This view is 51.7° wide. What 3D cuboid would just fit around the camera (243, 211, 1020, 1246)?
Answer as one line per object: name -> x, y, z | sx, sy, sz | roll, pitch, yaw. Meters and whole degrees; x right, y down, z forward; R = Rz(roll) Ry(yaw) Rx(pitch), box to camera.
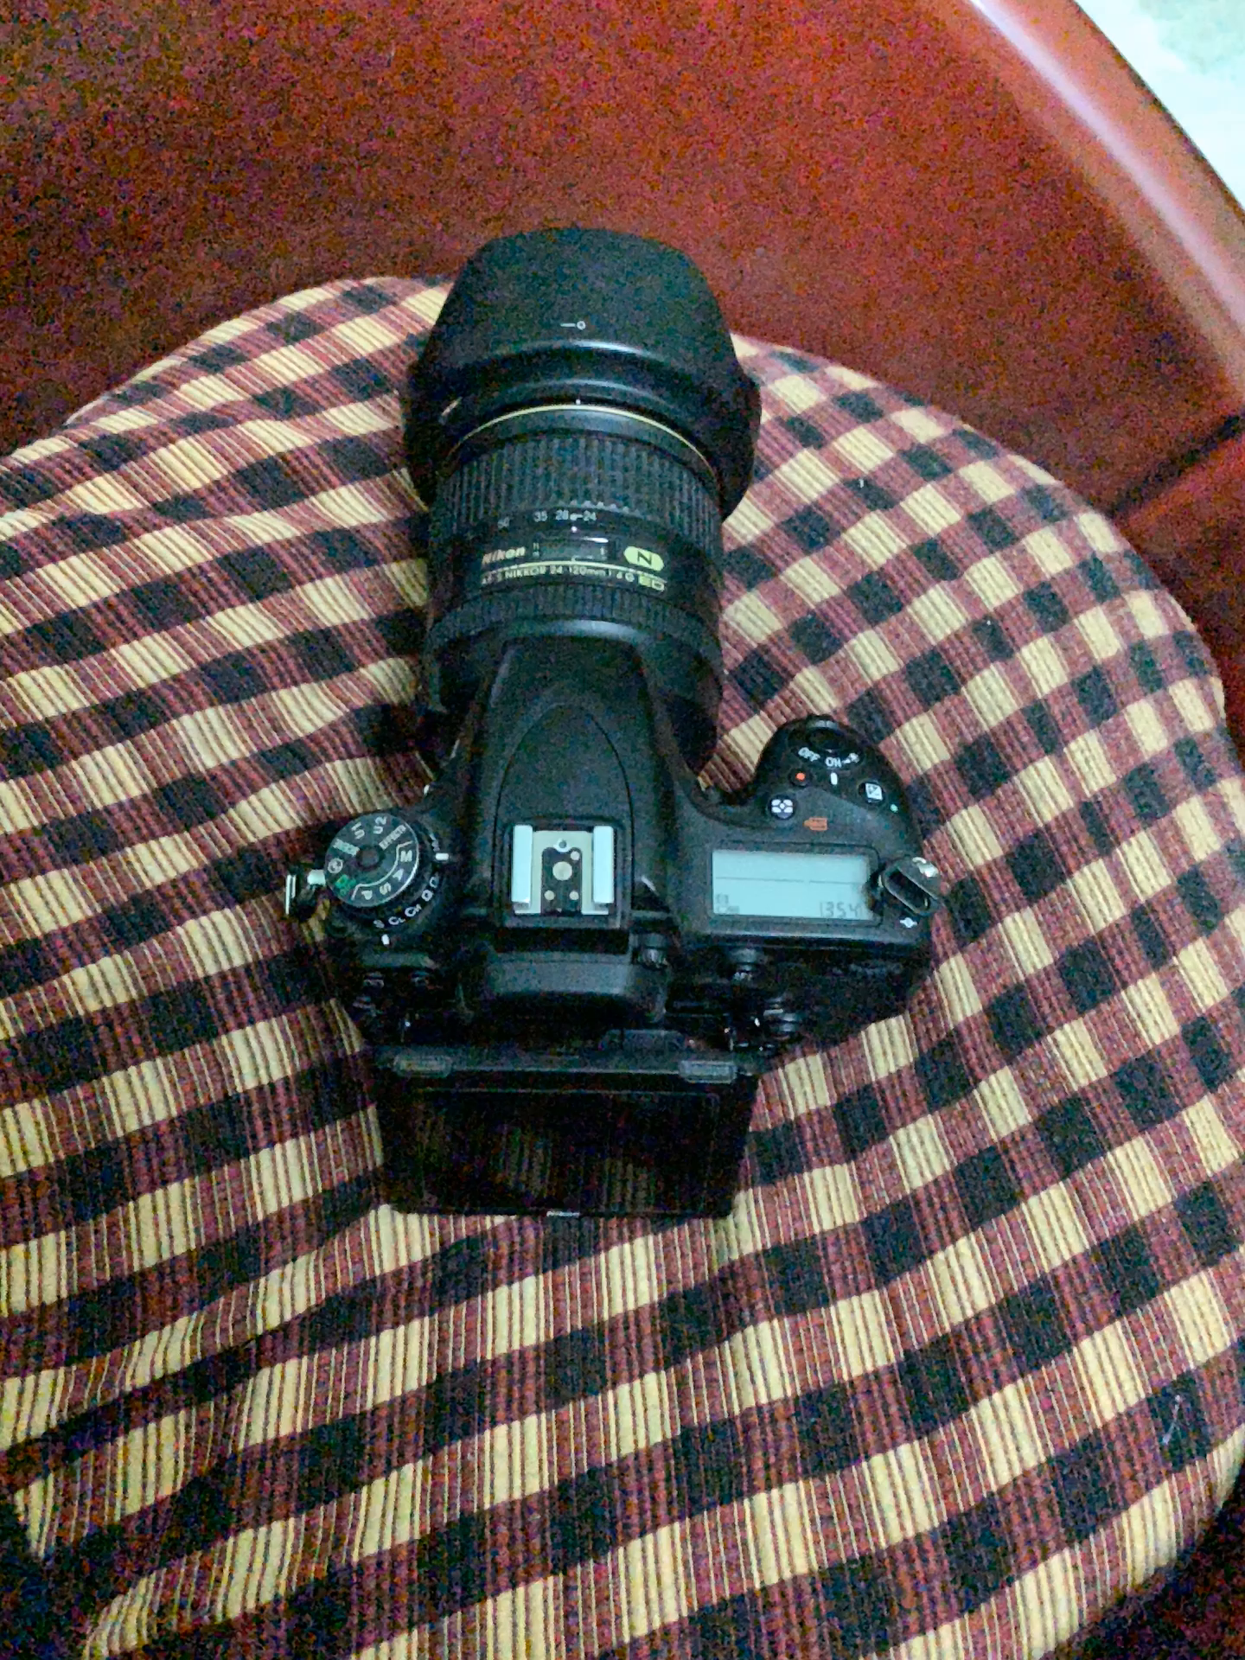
camera -> 0.003, -0.031, 0.333 | 0.140, 0.101, 0.250 | 1, 63, 0
